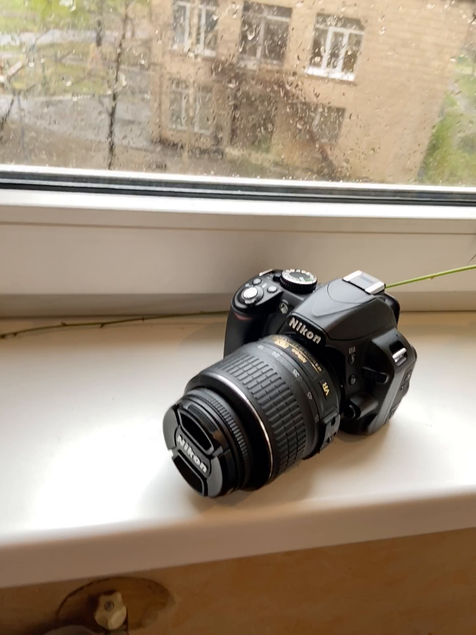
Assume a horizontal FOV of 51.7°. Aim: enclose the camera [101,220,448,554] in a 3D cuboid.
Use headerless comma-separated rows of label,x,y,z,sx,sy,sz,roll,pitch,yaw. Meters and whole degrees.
camera,0.021,0.024,0.300,0.124,0.091,0.155,34,43,31
